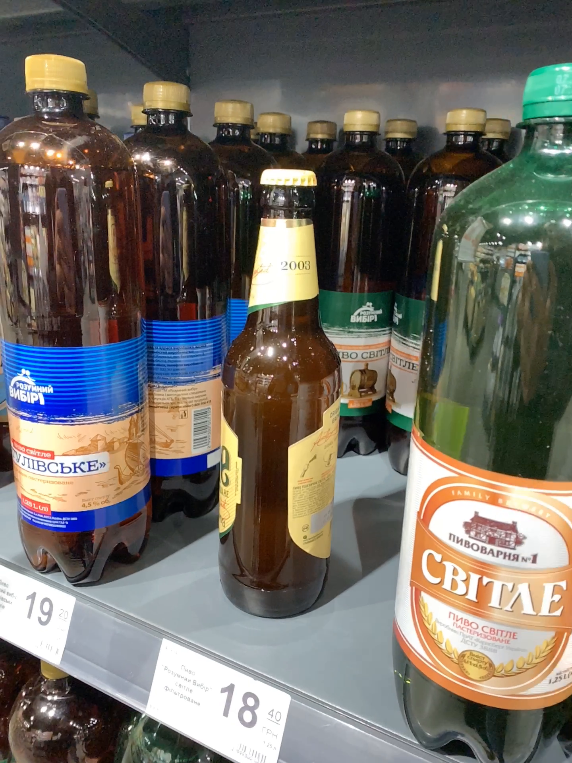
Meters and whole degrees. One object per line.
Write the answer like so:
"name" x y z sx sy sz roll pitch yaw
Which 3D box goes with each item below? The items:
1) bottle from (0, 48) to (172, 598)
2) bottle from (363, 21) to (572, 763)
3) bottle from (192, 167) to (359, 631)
"bottle" -0.126 -0.026 0.345 0.084 0.284 0.070 8 19 18
"bottle" 0.092 0.024 0.240 0.084 0.278 0.070 11 20 26
"bottle" -0.005 0.010 0.341 0.070 0.248 0.069 1 18 0
